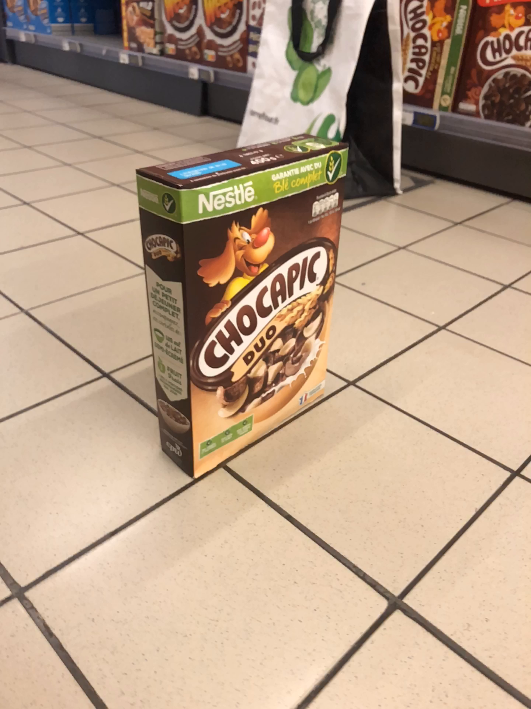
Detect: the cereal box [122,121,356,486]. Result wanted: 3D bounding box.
[{"bbox_3d":[-0.015,-0.050,0.536,0.060,0.278,0.201,27,38,36],"label":"cereal box"}]
